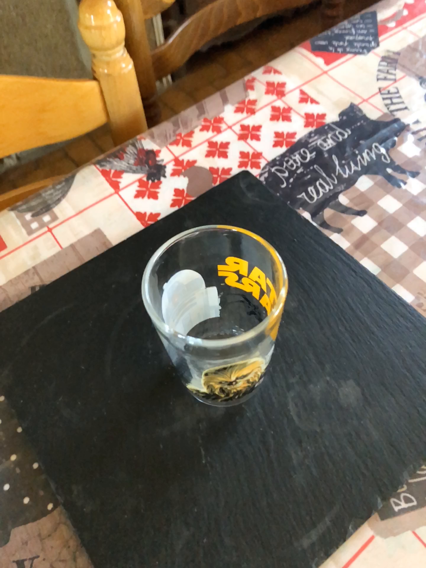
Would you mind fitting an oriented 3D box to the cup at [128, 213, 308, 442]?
[{"bbox_3d":[0.002,0.027,0.245,0.070,0.100,0.070,-2,55,3],"label":"cup"}]
